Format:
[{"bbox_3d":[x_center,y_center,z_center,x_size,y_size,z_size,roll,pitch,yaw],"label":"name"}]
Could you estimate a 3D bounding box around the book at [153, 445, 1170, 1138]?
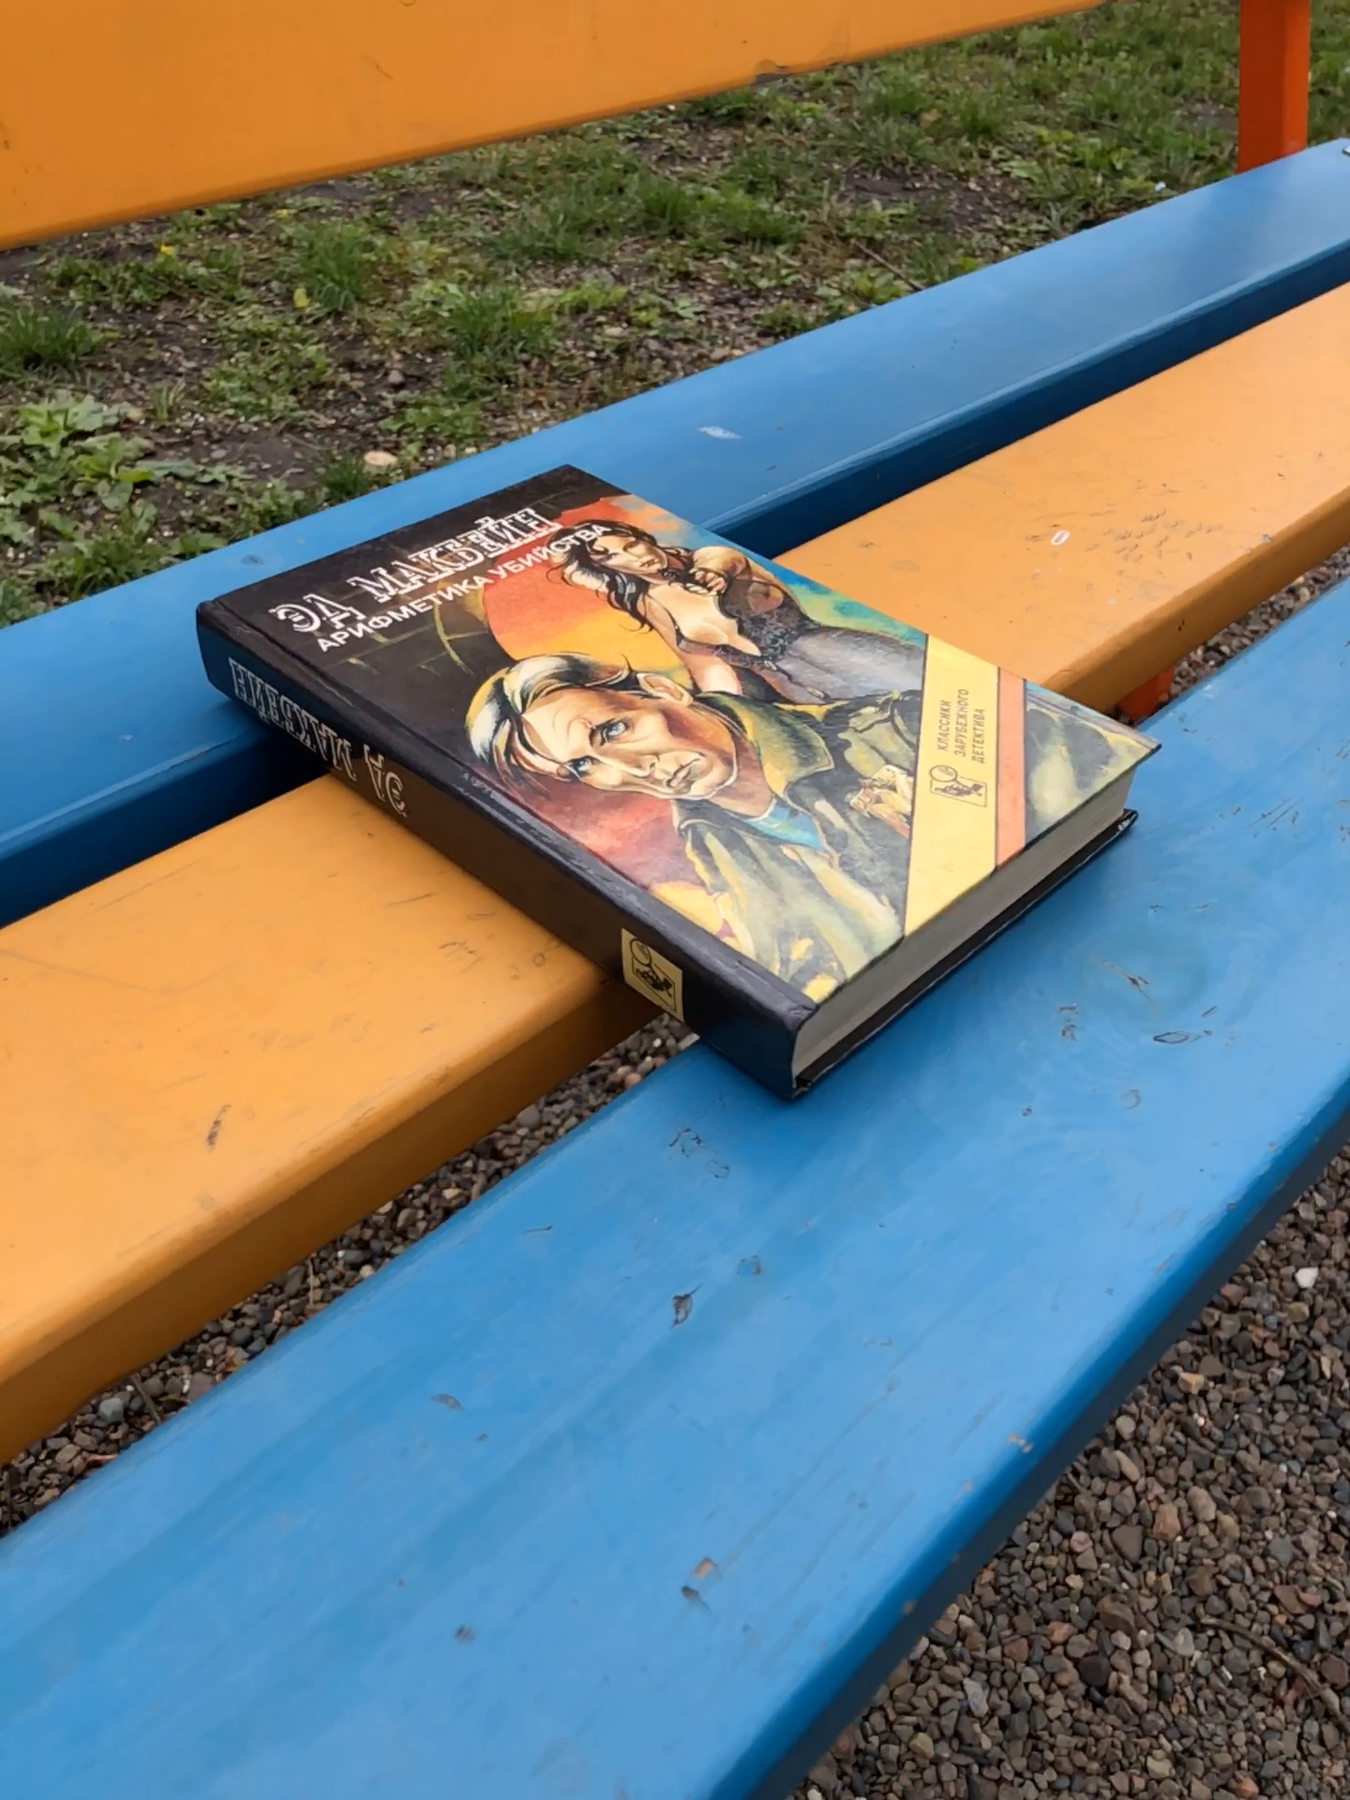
[{"bbox_3d":[-0.009,-0.046,0.369,0.210,0.030,0.136,33,49,30],"label":"book"}]
